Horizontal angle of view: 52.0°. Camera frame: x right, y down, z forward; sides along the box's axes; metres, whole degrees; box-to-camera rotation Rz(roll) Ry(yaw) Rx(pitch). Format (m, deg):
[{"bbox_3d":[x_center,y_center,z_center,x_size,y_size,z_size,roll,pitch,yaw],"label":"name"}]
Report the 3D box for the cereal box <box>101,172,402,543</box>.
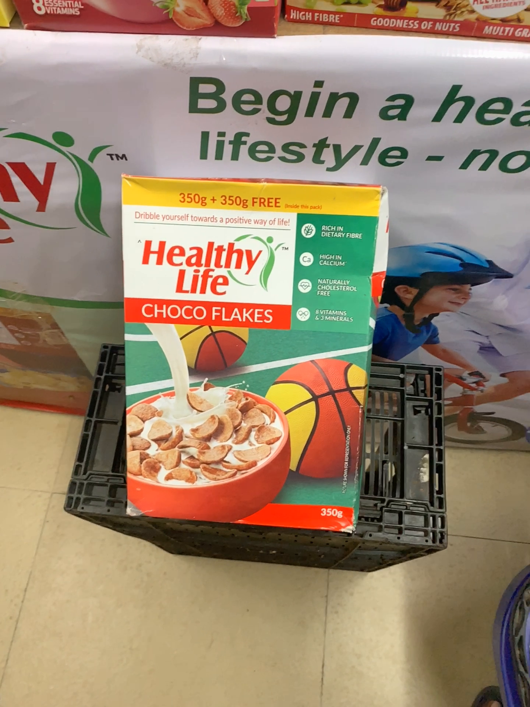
[{"bbox_3d":[-0.013,0.001,0.456,0.210,0.090,0.280,3,105,4],"label":"cereal box"}]
